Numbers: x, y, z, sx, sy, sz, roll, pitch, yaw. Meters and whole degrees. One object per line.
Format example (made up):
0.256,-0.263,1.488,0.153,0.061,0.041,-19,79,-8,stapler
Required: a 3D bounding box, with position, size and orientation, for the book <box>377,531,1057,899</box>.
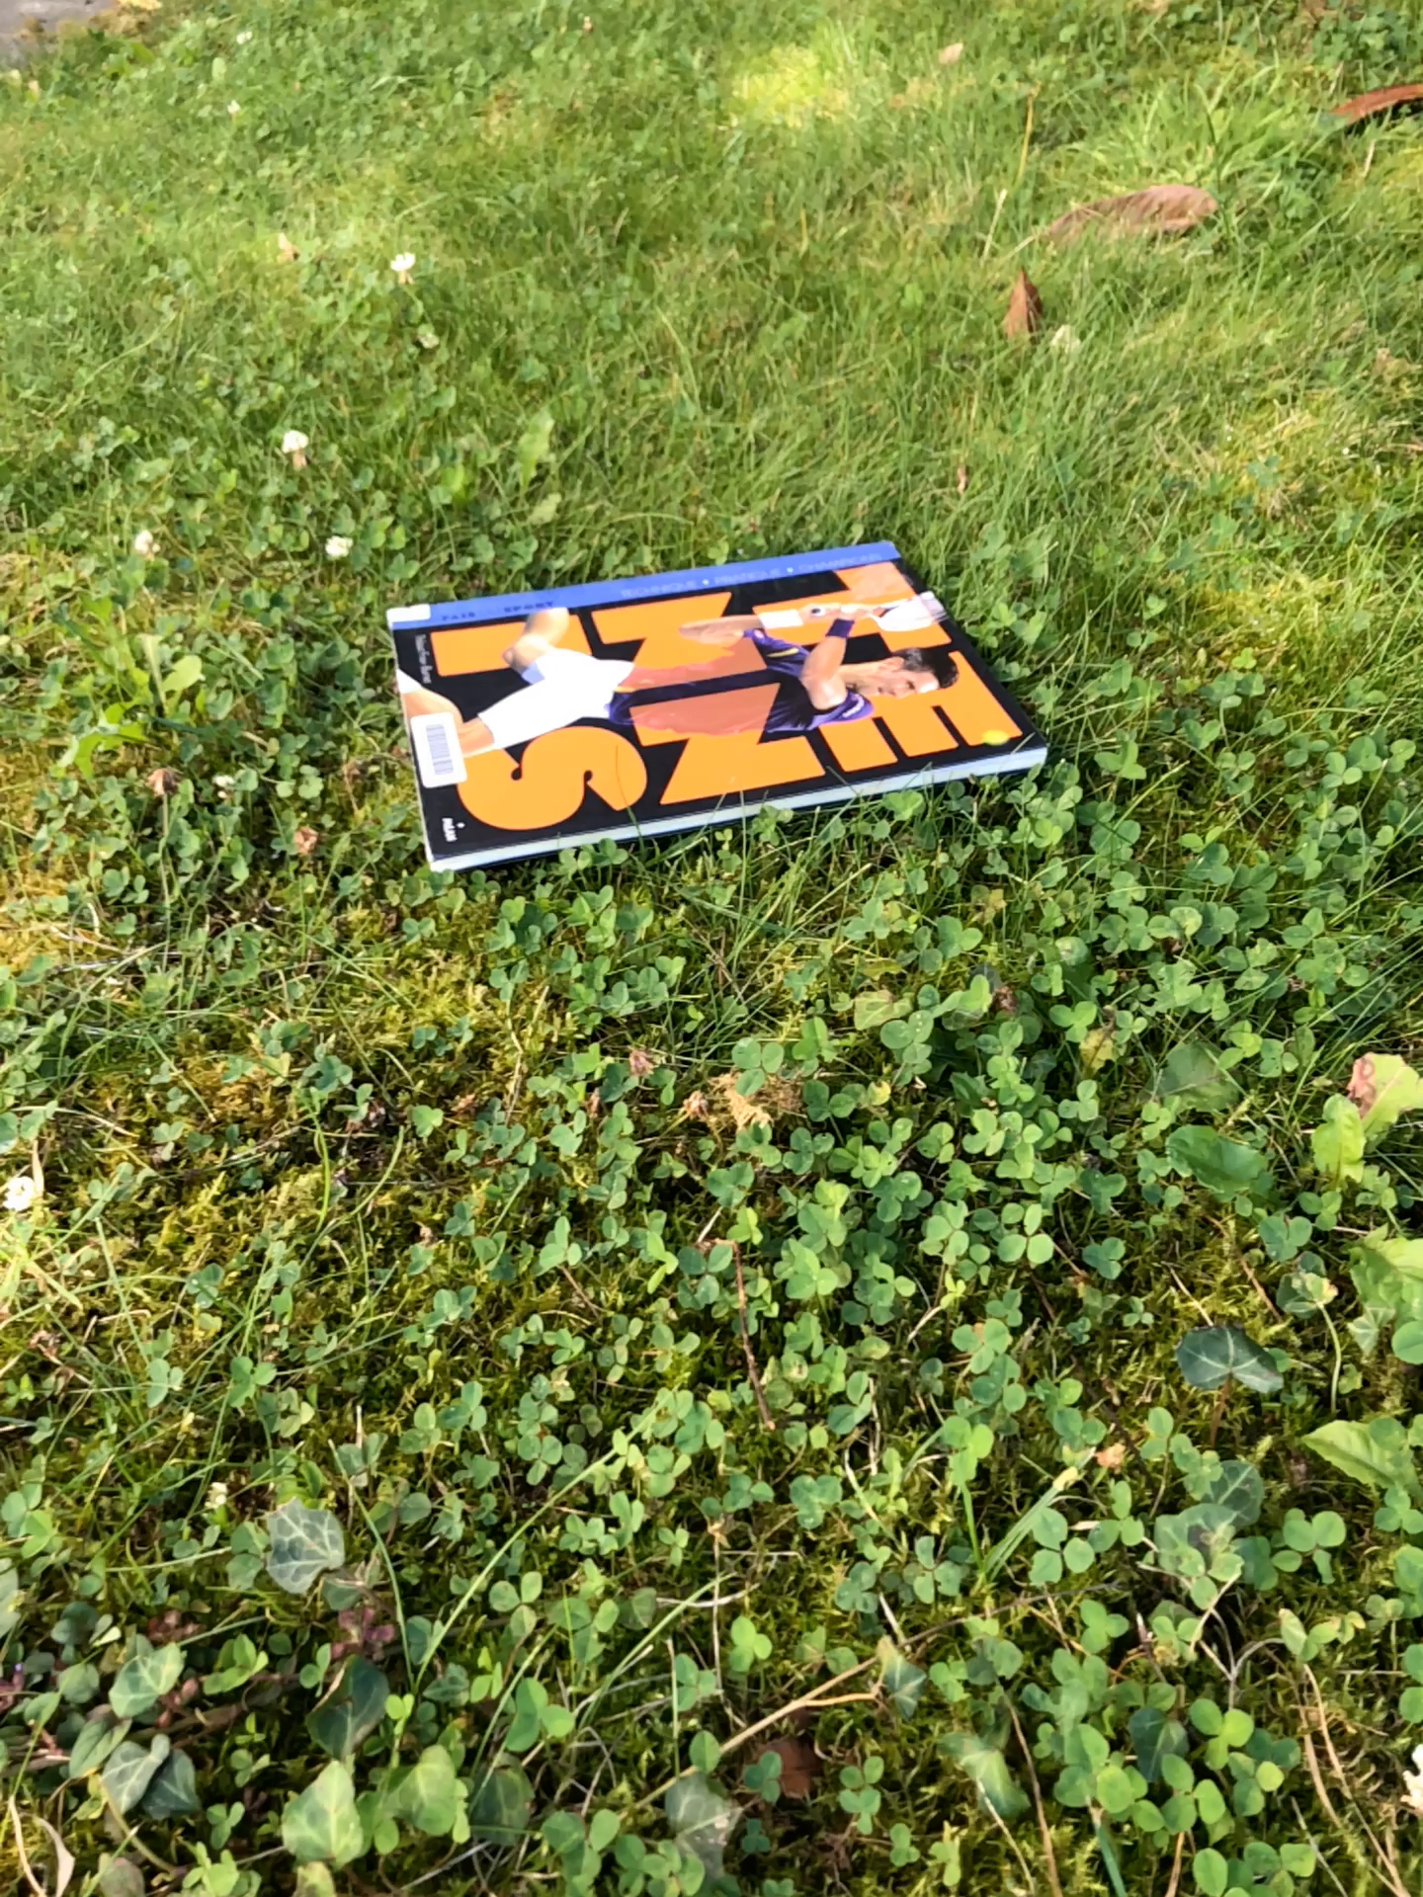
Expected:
-0.009,-0.108,0.652,0.240,0.016,0.199,-10,41,-10,book
